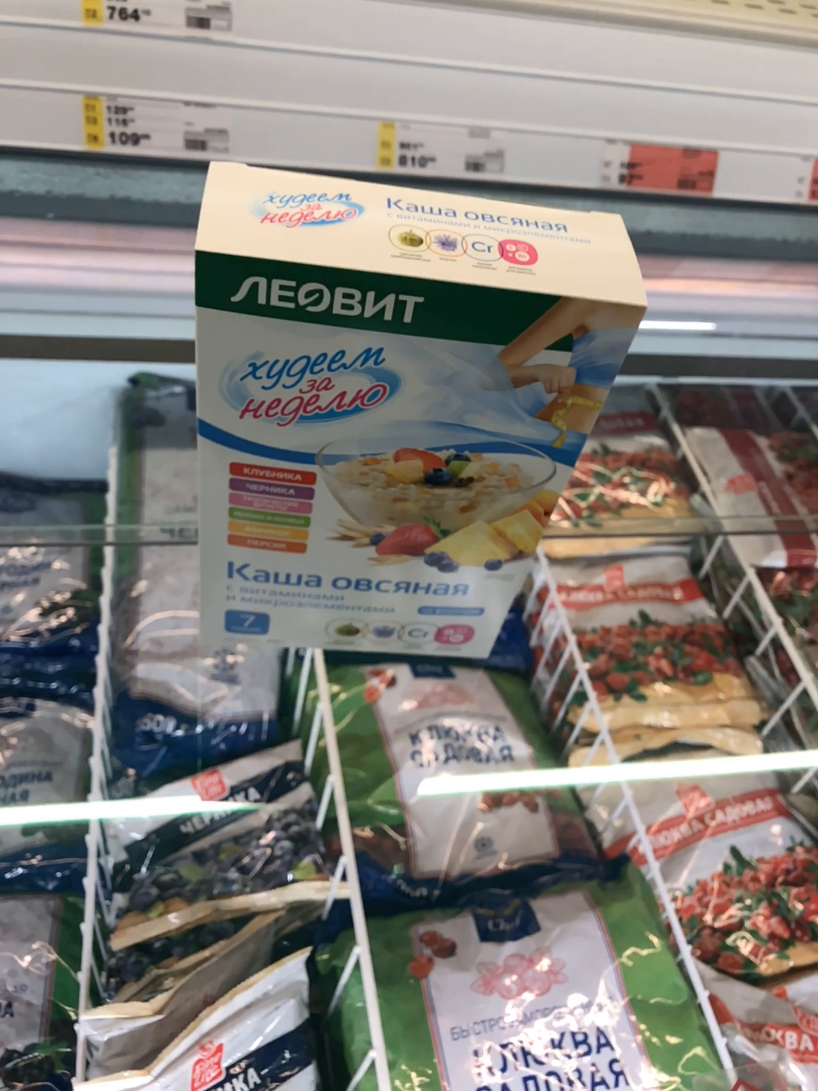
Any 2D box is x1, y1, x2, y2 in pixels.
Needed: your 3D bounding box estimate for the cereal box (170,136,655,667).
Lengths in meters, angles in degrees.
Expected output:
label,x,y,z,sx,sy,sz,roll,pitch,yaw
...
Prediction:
label,x,y,z,sx,sy,sz,roll,pitch,yaw
cereal box,-0.015,-0.037,0.384,0.150,0.229,0.060,4,51,-9
